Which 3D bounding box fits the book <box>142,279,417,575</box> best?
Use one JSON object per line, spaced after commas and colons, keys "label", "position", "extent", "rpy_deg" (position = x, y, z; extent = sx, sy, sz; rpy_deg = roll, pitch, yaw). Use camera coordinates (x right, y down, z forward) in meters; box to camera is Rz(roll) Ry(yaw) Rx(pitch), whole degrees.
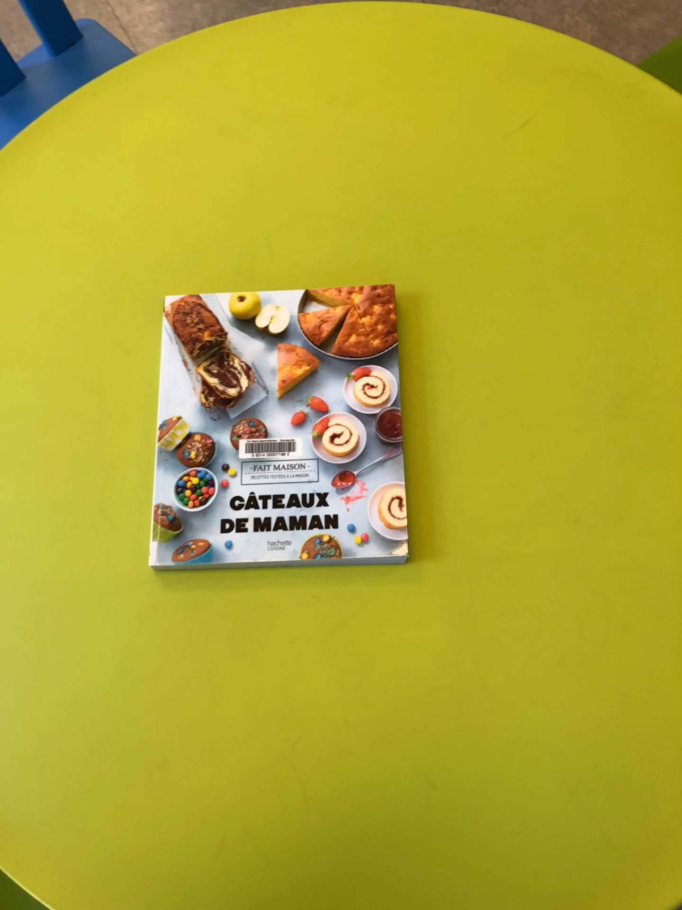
{"label": "book", "position": [-0.048, -0.026, 0.586], "extent": [0.200, 0.021, 0.229], "rpy_deg": [-3, 72, 3]}
